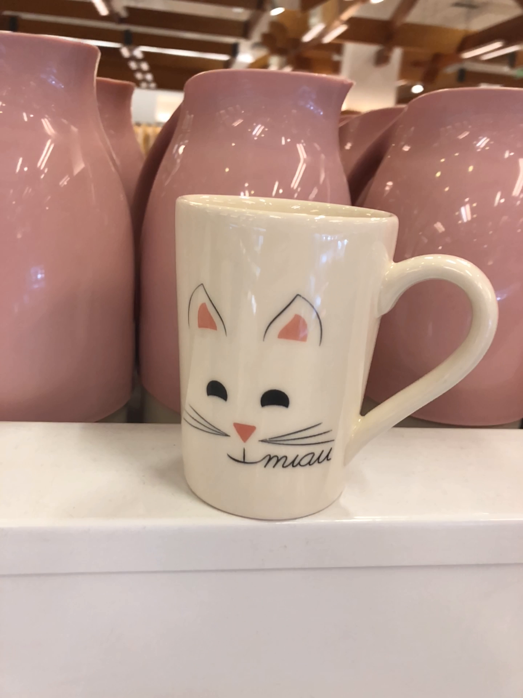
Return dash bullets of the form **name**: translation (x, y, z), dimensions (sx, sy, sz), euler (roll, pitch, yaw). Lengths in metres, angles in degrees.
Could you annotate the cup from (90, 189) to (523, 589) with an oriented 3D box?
- **cup**: translation (0.011, 0.003, 0.199), dimensions (0.110, 0.099, 0.080), euler (7, 17, 8)
